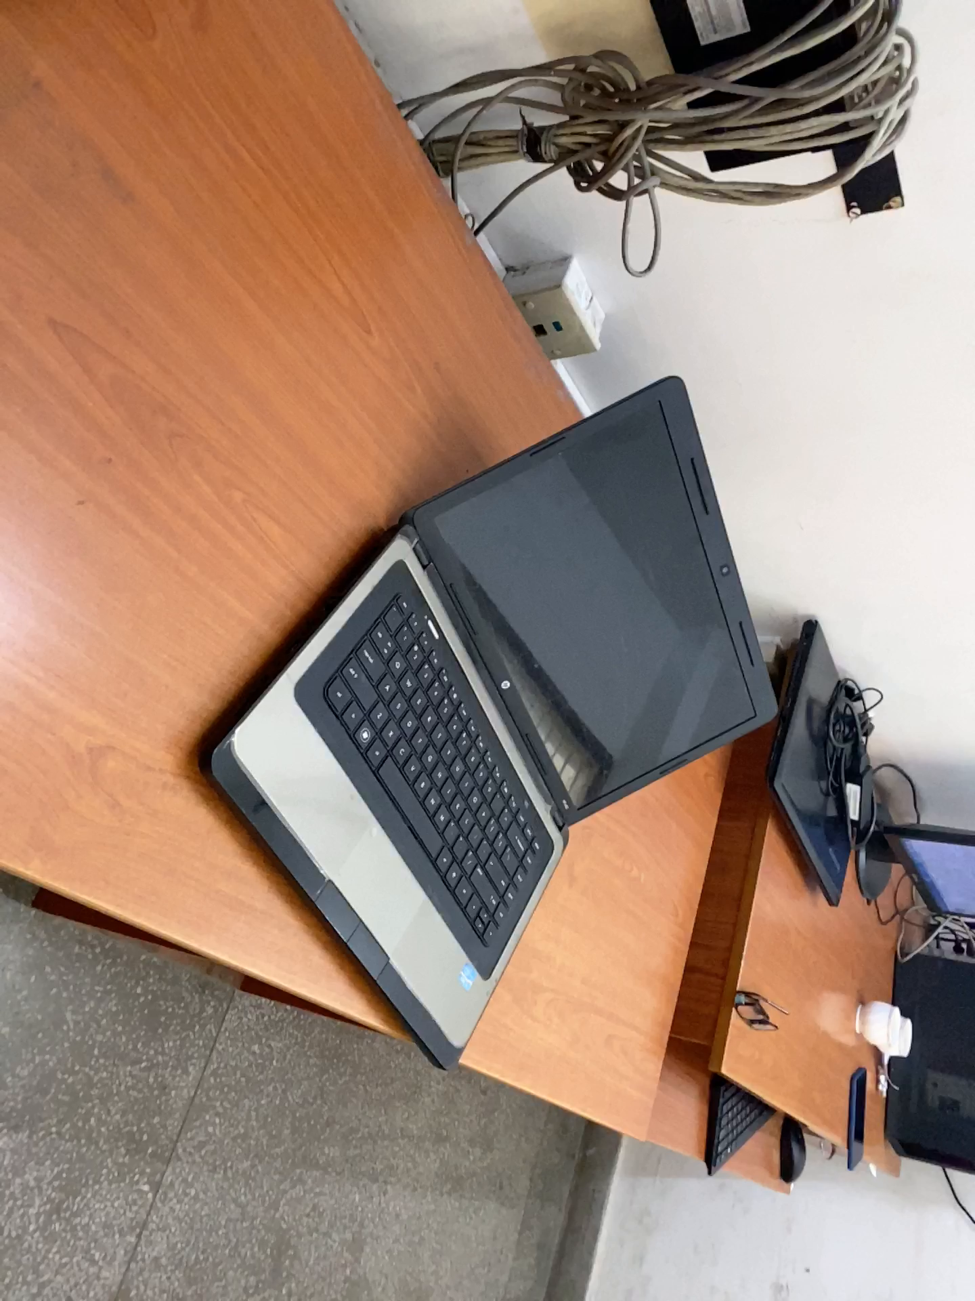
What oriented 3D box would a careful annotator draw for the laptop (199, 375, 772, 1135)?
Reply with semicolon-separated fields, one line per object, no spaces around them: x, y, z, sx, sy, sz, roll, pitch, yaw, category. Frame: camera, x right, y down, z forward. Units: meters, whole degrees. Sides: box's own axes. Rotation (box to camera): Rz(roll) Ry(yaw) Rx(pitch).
0.053;0.071;0.797;0.426;0.158;0.384;-57;135;-36;laptop
